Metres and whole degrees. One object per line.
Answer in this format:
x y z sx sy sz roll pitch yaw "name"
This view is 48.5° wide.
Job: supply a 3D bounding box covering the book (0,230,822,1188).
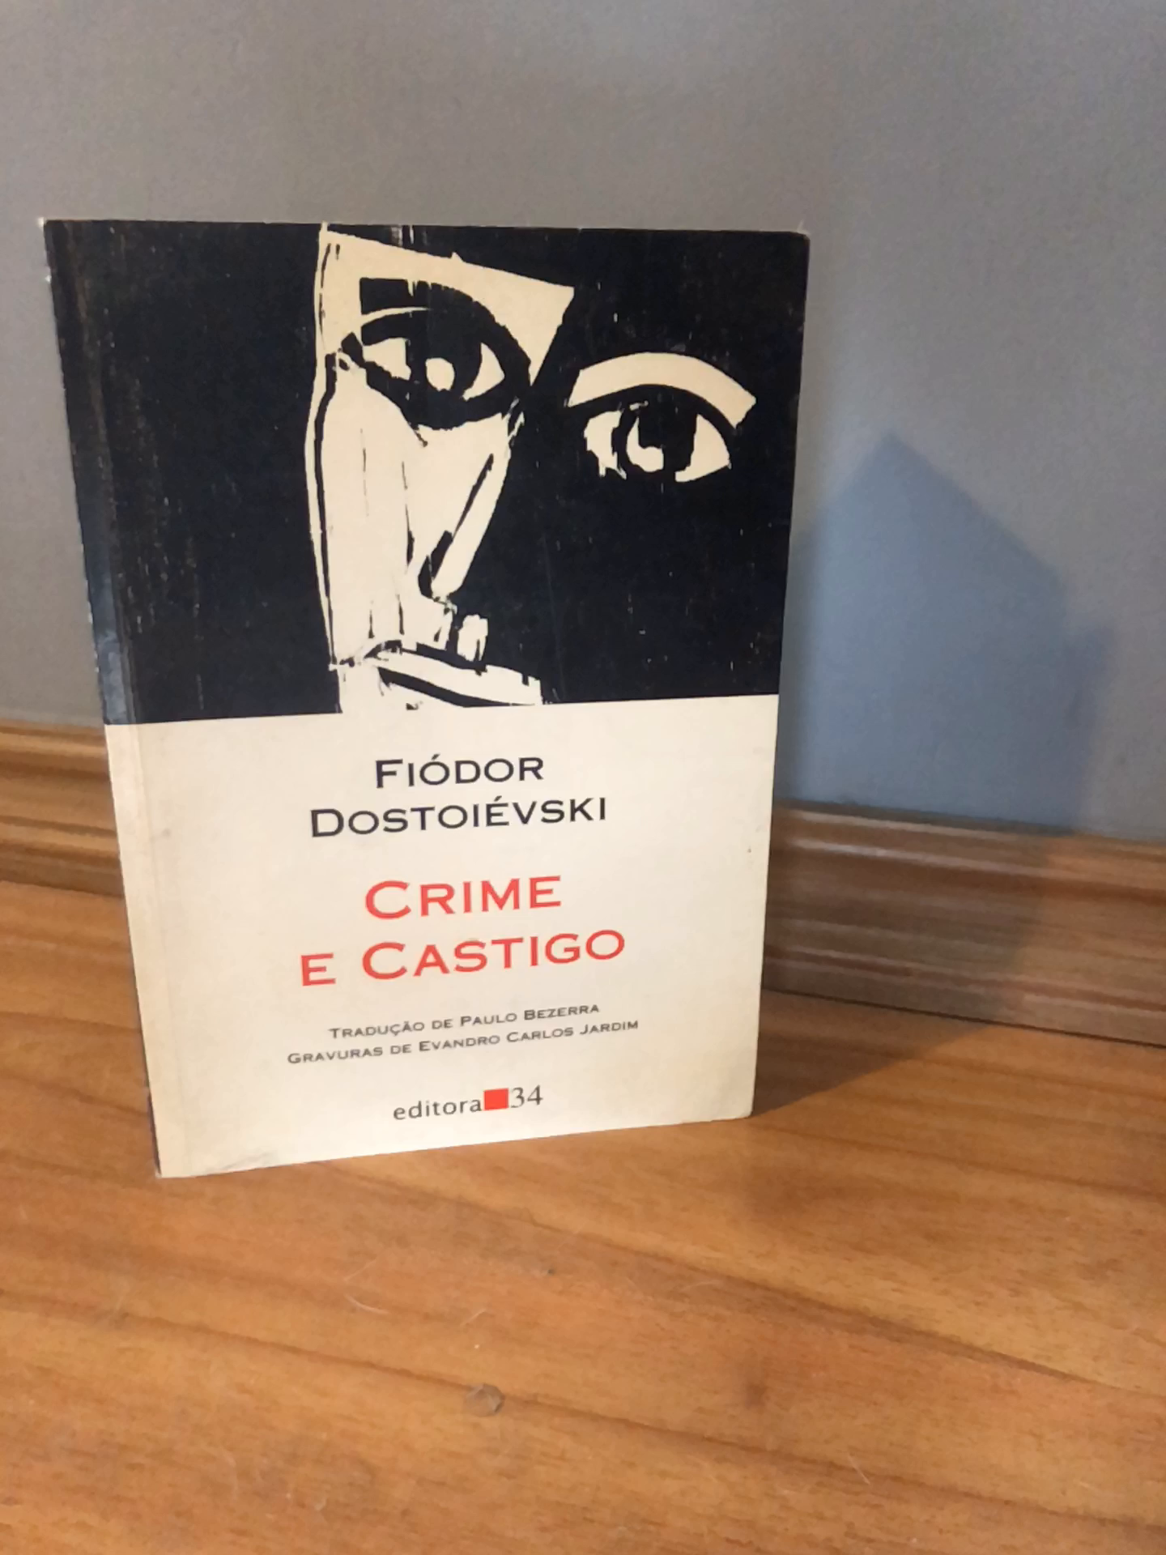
-0.037 -0.014 0.325 0.170 0.222 0.046 -3 20 -10 "book"
